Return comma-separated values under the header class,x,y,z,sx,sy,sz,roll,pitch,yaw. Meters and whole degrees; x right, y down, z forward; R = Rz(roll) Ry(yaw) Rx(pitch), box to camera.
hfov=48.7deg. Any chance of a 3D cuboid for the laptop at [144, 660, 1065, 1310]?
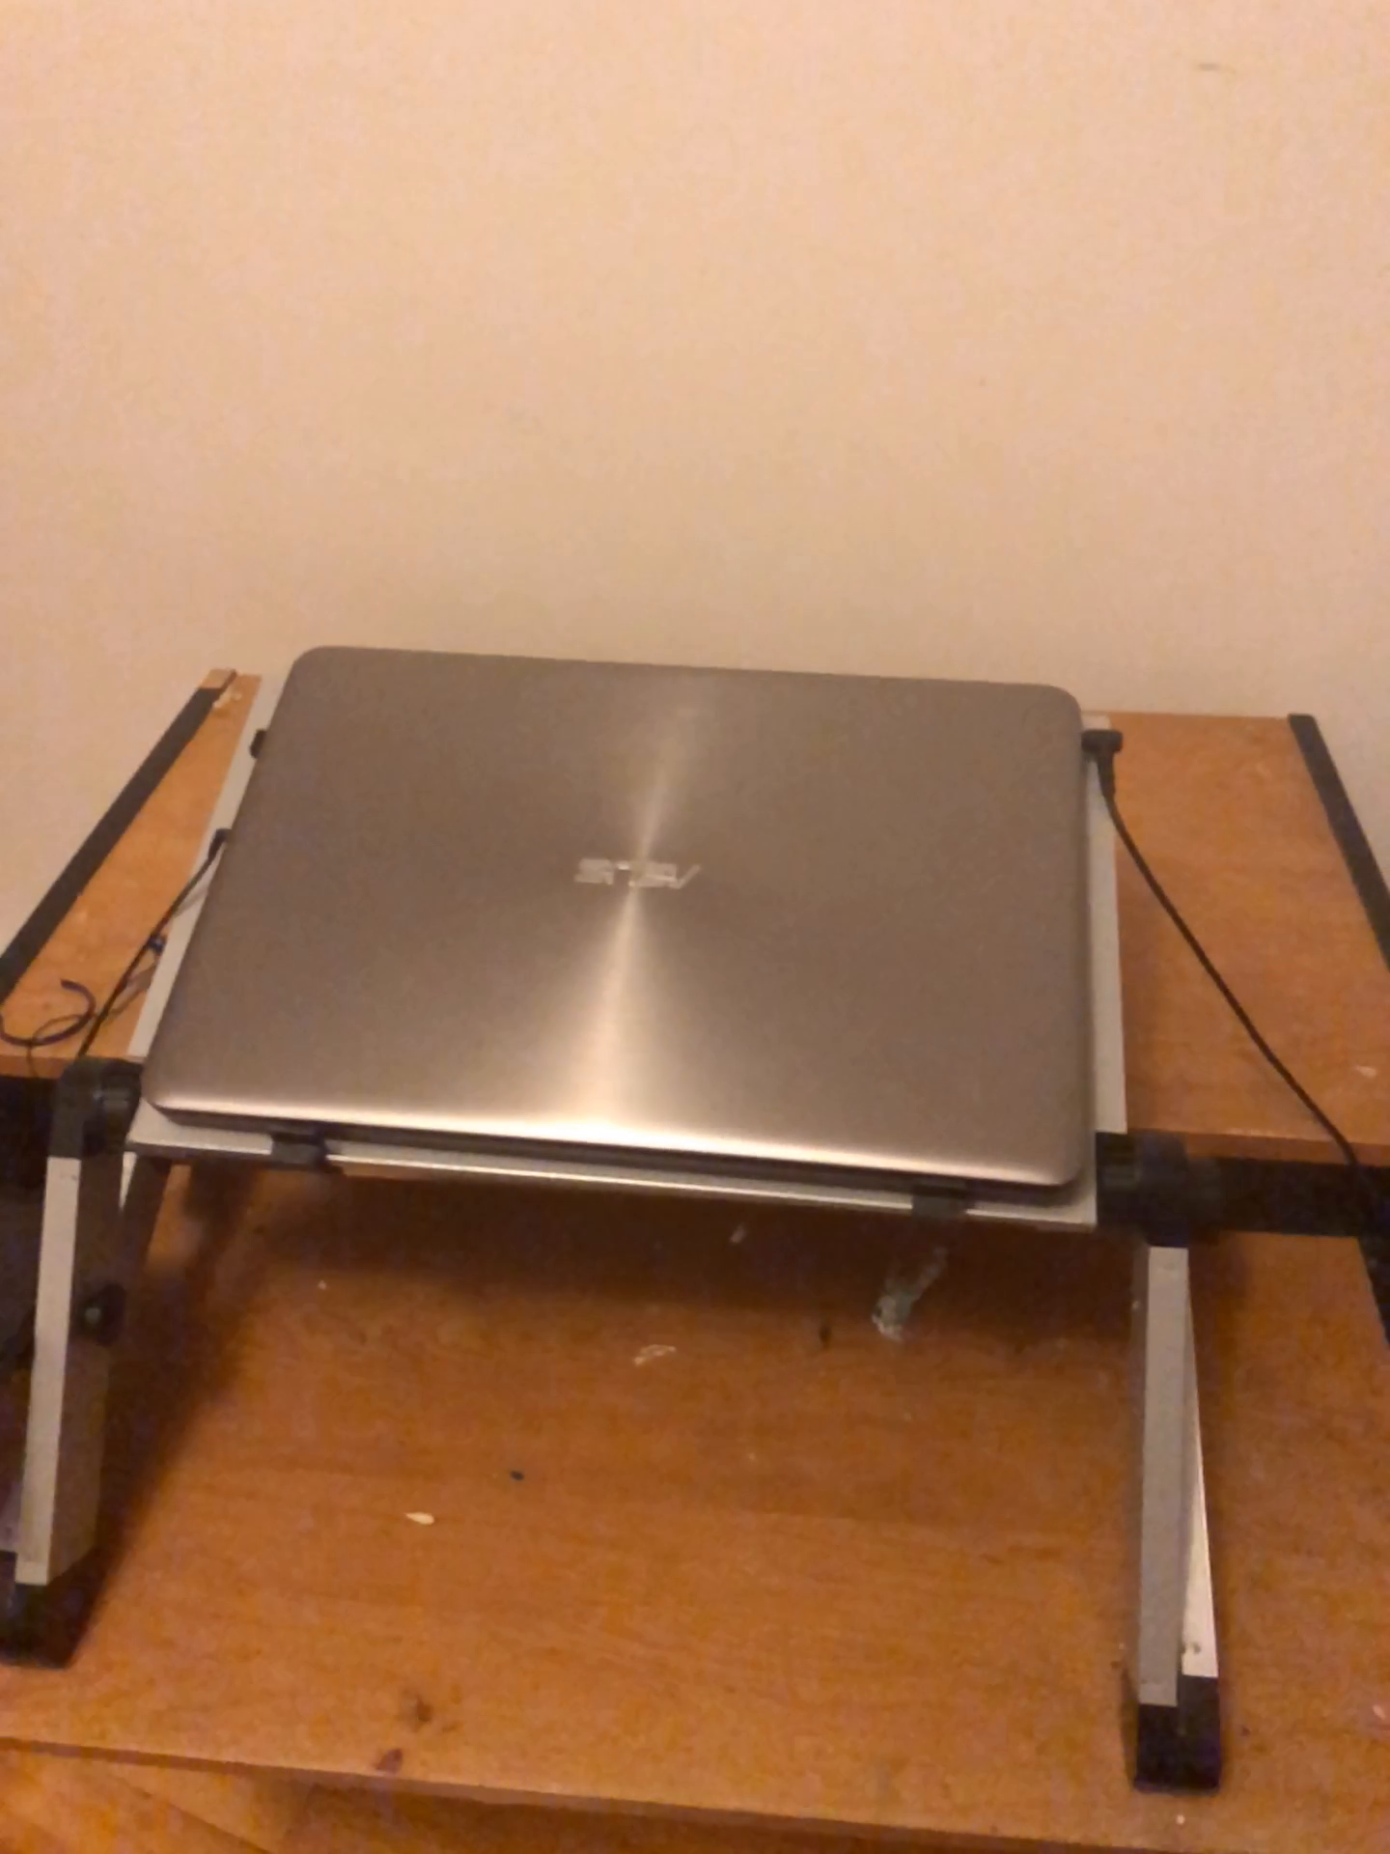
class,x,y,z,sx,sy,sz,roll,pitch,yaw
laptop,-0.026,0.010,0.684,0.361,0.071,0.250,4,53,8
